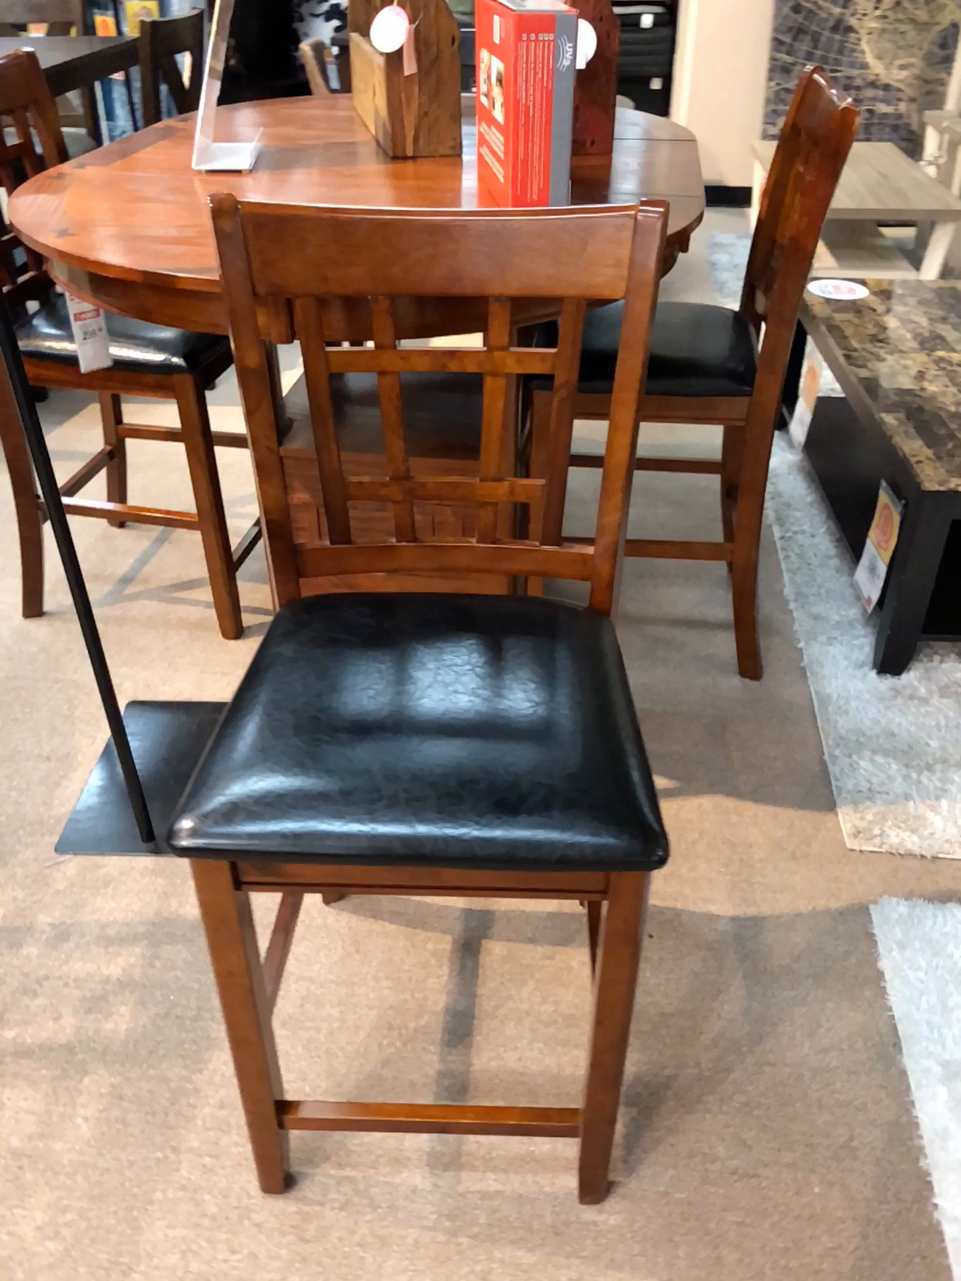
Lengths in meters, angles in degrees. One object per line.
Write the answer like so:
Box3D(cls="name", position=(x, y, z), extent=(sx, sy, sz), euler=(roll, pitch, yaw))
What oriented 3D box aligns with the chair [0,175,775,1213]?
Box3D(cls="chair", position=(-0.055, 0.083, 1.110), extent=(0.470, 0.963, 0.524), euler=(1, 35, 2))
